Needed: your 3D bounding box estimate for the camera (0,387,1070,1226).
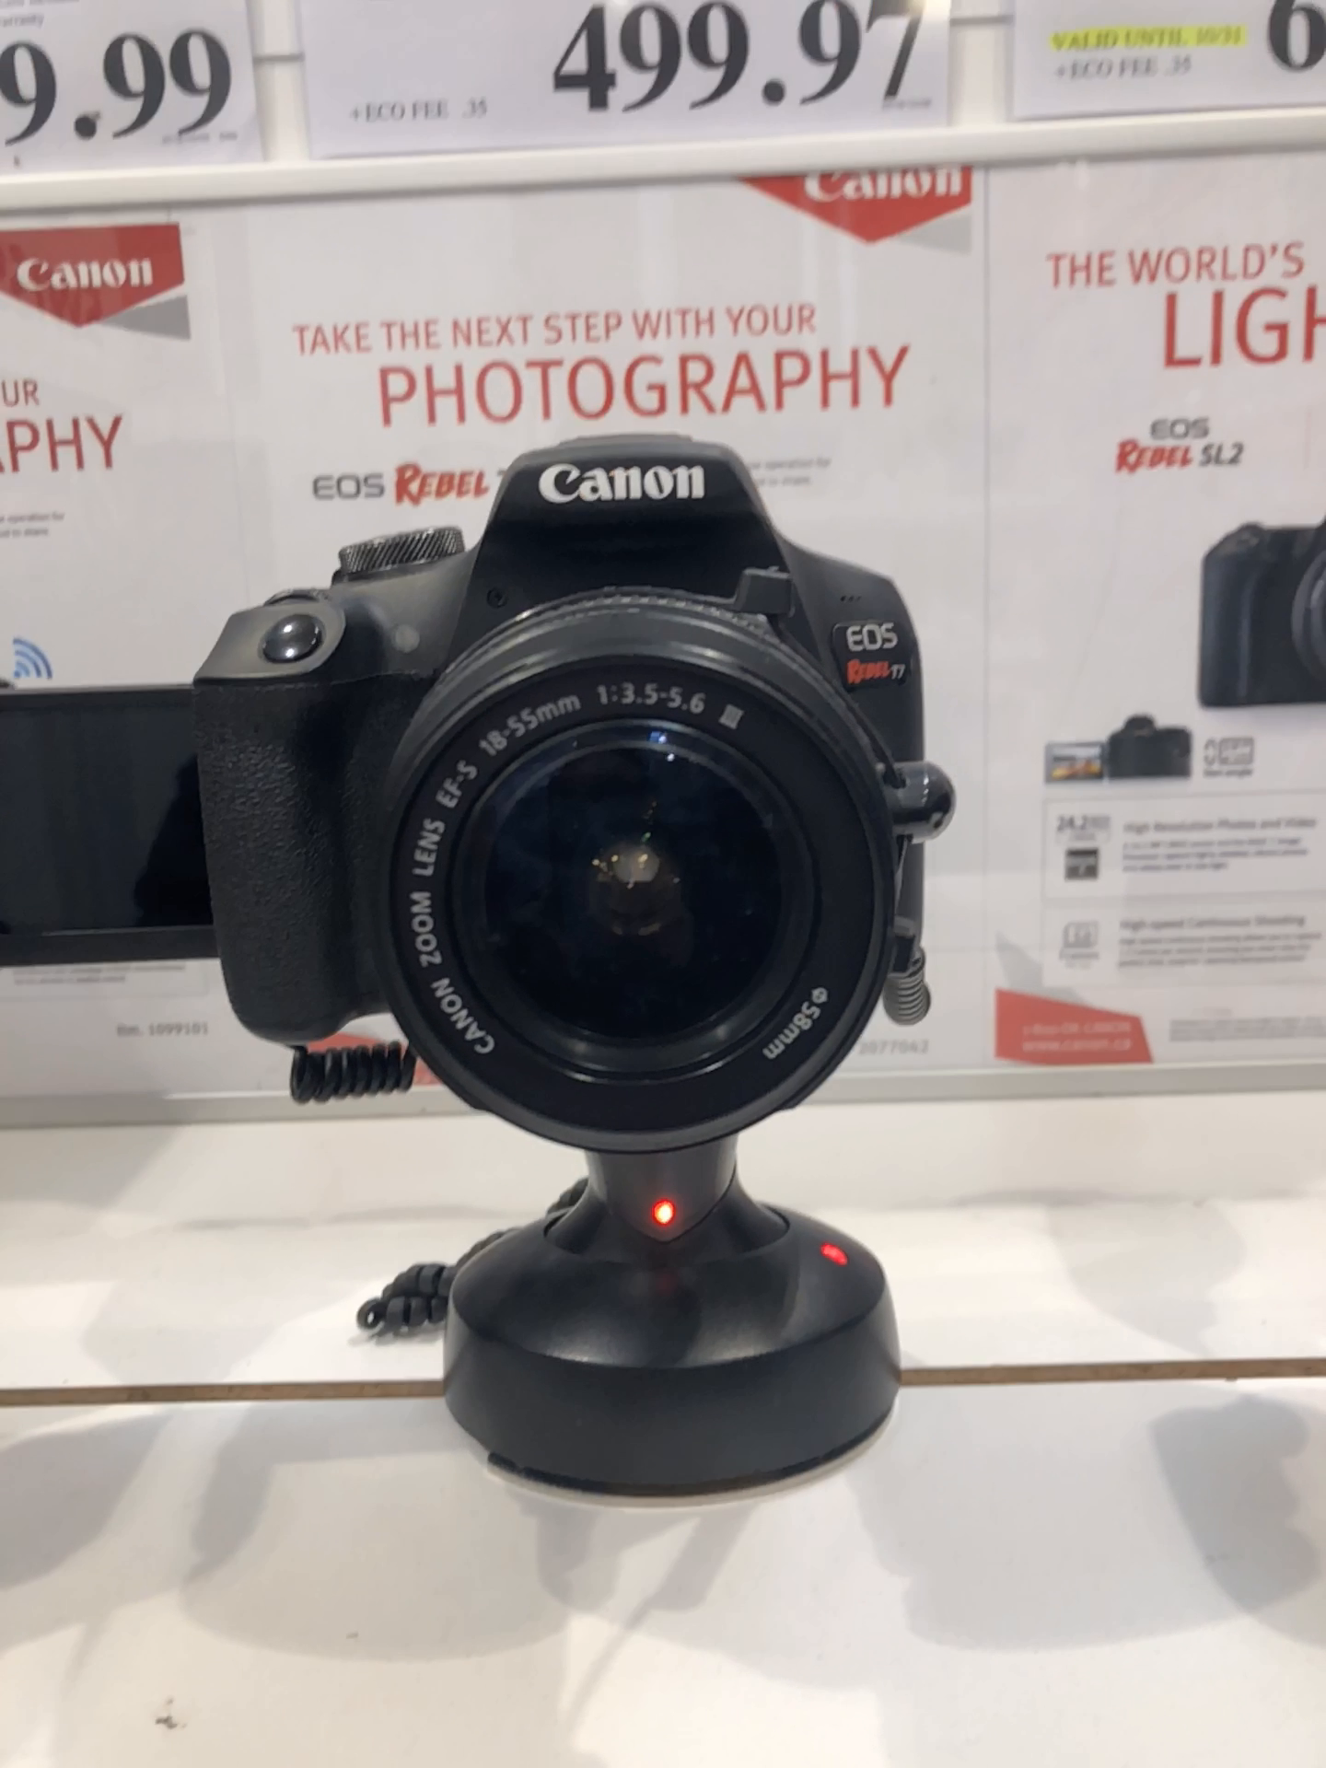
[{"bbox_3d":[-0.016,-0.020,0.240,0.130,0.100,0.120,-2,13,0],"label":"camera"}]
